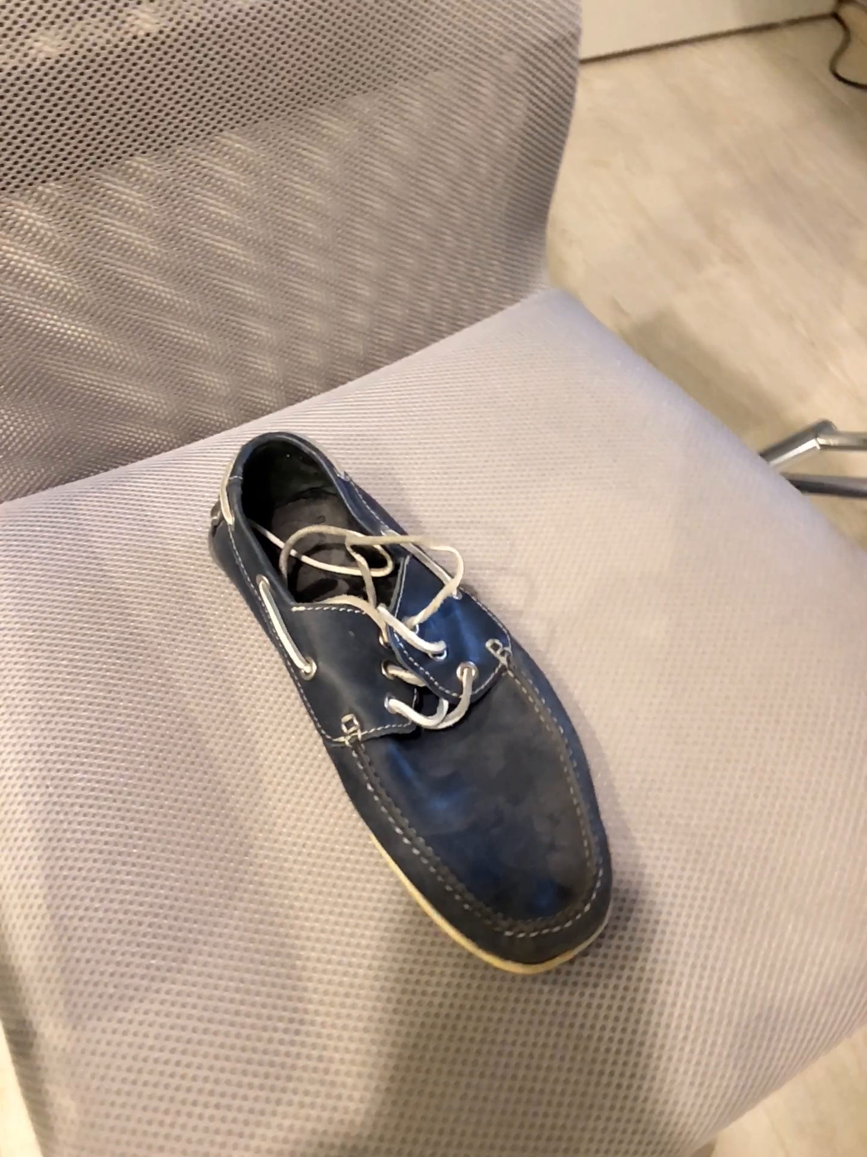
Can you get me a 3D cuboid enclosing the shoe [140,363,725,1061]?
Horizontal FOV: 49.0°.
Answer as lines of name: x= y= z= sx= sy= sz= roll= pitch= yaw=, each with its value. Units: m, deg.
shoe: x=-0.017 y=0.047 z=0.448 sx=0.120 sy=0.099 sz=0.291 roll=-26 pitch=61 yaw=-17
